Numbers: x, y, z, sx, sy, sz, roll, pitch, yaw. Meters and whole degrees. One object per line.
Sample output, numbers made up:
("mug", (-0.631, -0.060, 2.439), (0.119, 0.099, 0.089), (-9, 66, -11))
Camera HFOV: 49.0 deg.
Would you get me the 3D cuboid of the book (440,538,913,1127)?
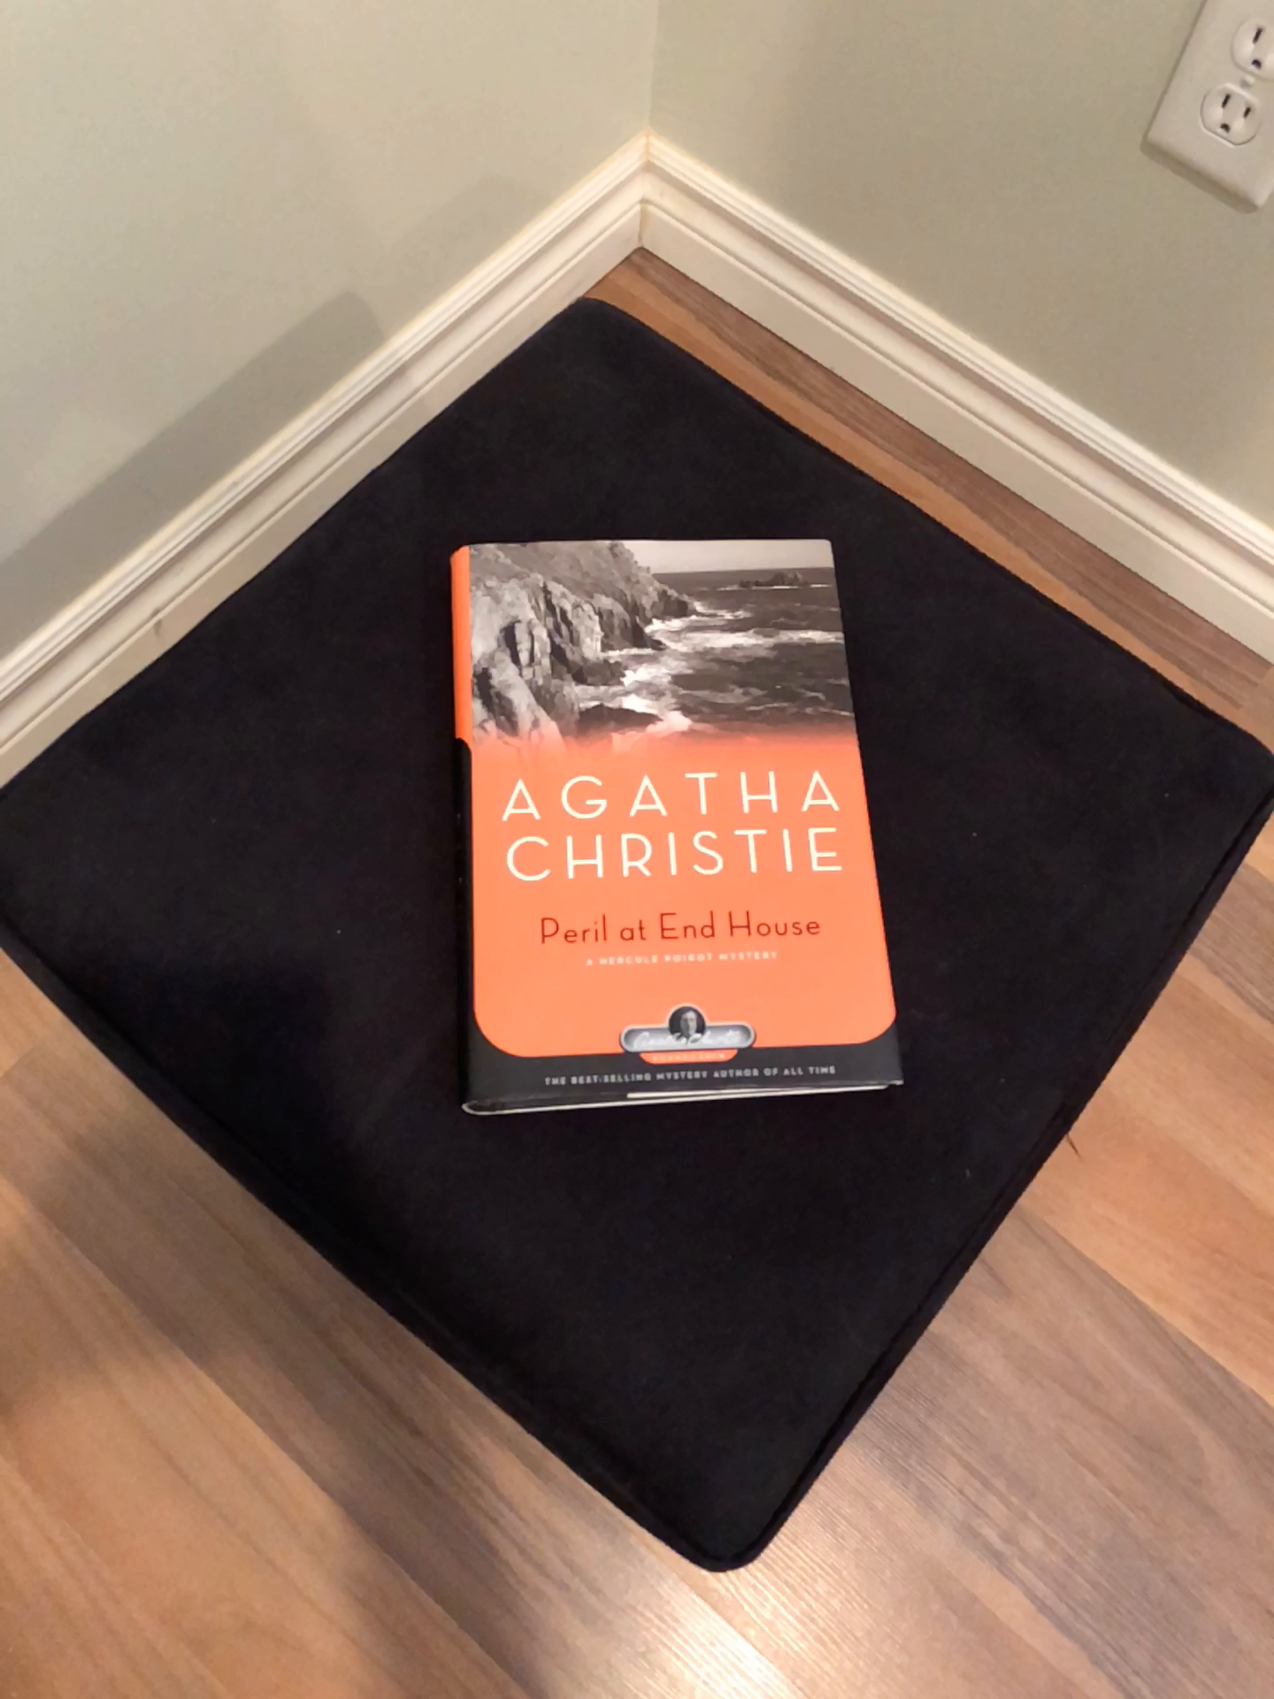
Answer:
("book", (0.007, -0.012, 0.496), (0.146, 0.030, 0.206), (-3, 68, -5))
